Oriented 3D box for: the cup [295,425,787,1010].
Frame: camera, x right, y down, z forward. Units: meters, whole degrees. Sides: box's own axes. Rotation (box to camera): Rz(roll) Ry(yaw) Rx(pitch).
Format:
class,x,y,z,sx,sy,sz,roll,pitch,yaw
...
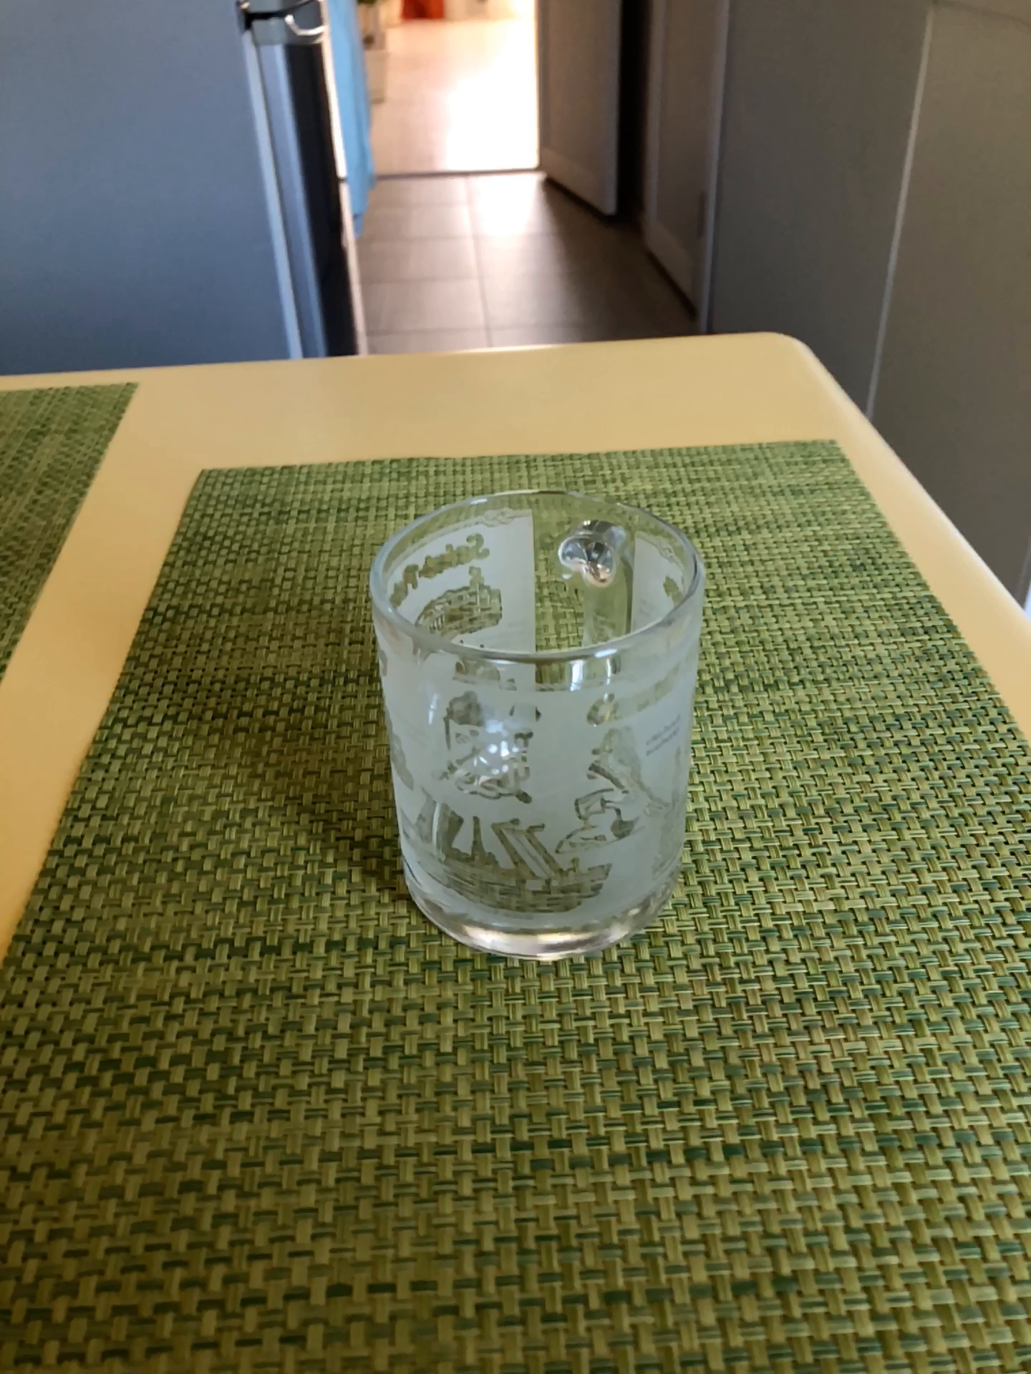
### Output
class,x,y,z,sx,sy,sz,roll,pitch,yaw
cup,0.014,0.001,0.305,0.087,0.096,0.110,11,37,19
